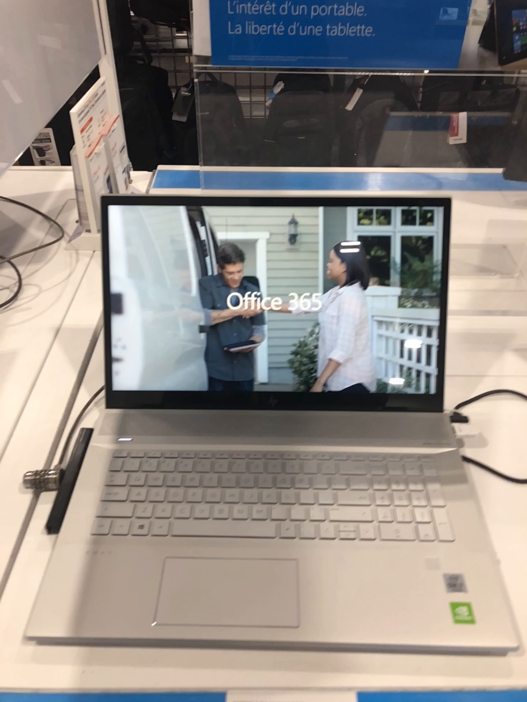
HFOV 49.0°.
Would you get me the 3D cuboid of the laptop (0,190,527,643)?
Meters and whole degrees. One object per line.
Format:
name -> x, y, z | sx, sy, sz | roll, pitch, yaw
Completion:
laptop -> 0.007, 0.026, 0.558 | 0.390, 0.199, 0.399 | 1, 39, 0
